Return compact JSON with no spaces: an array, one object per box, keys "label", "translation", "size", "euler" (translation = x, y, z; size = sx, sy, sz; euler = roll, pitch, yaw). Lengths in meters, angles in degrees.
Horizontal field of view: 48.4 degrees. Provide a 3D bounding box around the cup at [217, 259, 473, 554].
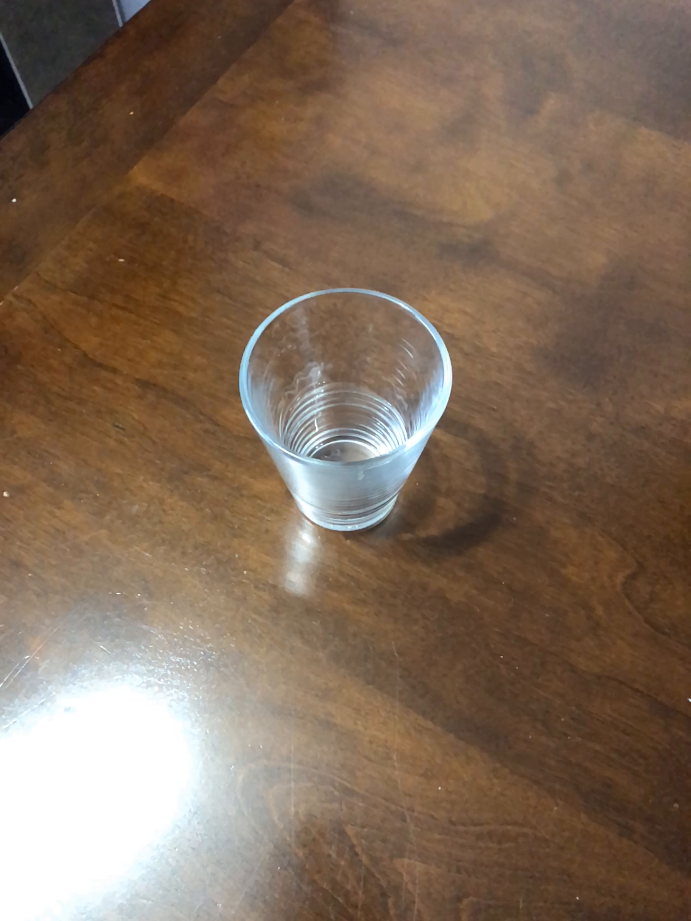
[{"label":"cup","translation":[-0.002,-0.018,0.325],"size":[0.080,0.100,0.070],"euler":[-11,64,-6]}]
